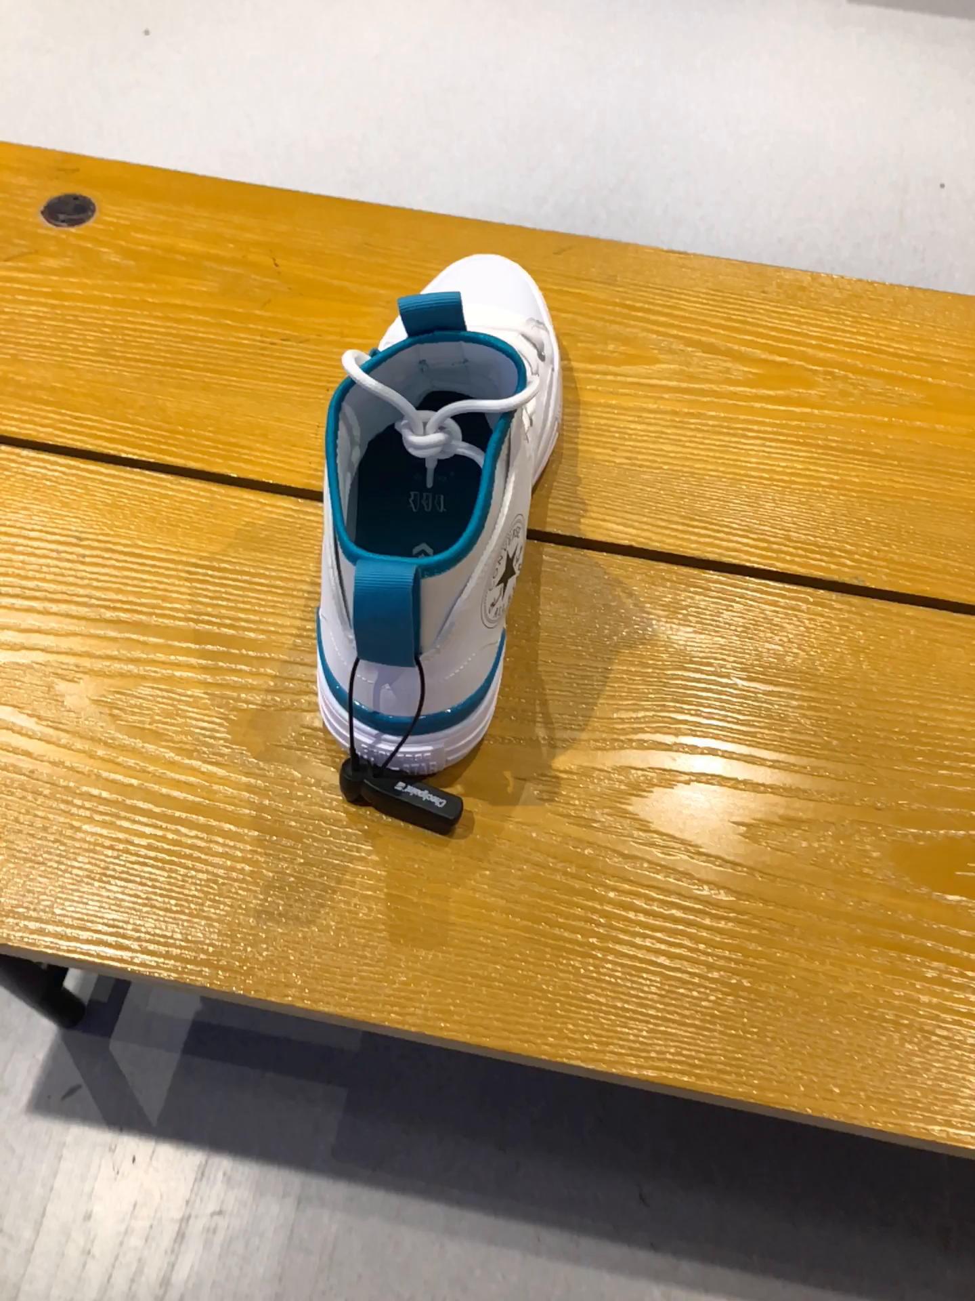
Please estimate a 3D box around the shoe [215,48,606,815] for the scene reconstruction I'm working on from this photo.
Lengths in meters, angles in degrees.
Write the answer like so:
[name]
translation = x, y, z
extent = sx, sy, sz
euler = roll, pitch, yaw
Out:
[shoe]
translation = -0.018, -0.101, 0.474
extent = 0.108, 0.157, 0.295
euler = 6, 58, 1
